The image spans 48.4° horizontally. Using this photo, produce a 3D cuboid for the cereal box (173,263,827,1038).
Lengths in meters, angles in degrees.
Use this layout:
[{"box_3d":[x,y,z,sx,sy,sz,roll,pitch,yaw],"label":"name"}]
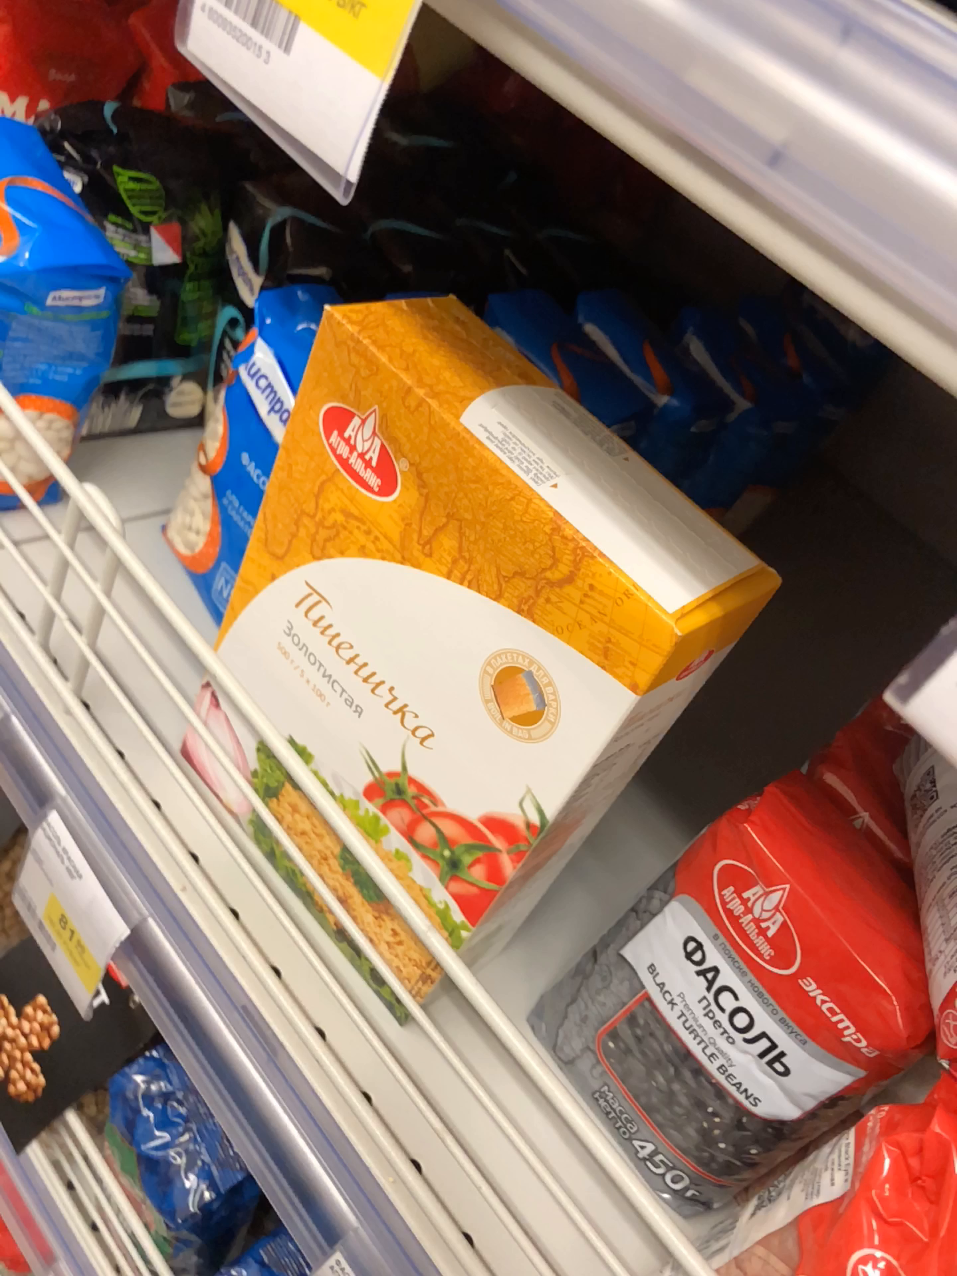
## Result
[{"box_3d":[-0.013,0.010,0.340,0.140,0.199,0.060,45,41,20],"label":"cereal box"}]
